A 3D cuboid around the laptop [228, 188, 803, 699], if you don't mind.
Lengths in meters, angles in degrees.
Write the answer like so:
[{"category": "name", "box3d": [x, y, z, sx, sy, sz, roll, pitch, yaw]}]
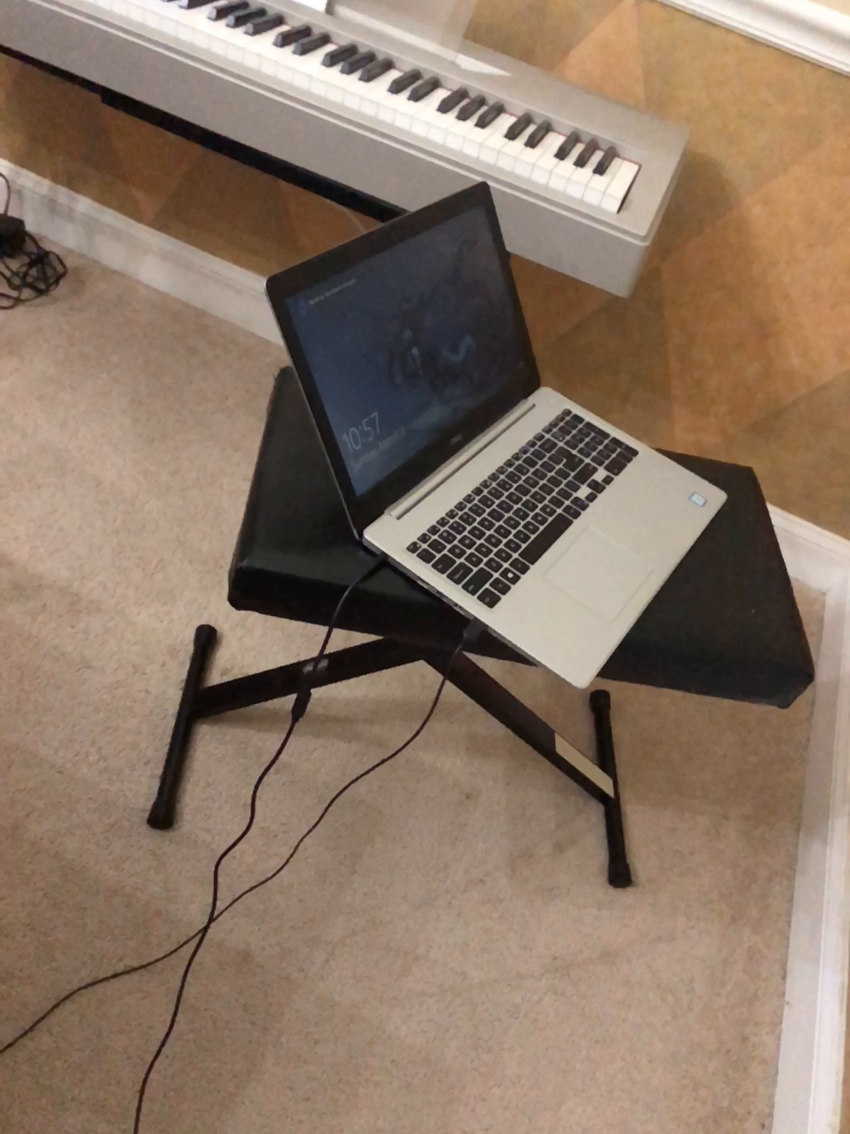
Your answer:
[{"category": "laptop", "box3d": [0.093, -0.152, 0.924, 0.408, 0.183, 0.376, 35, 47, 14]}]
